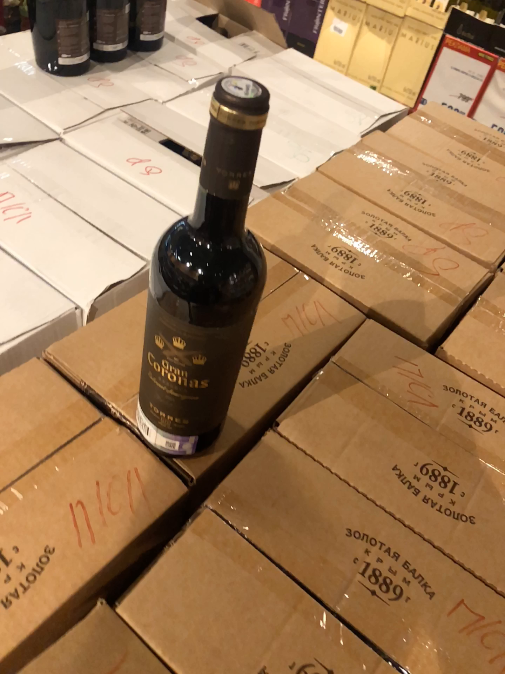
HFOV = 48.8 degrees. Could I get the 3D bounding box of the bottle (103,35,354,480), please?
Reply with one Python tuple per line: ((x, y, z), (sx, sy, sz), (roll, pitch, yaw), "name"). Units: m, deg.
((-0.030, -0.029, 0.373), (0.090, 0.278, 0.091), (6, 47, -7), "bottle")
